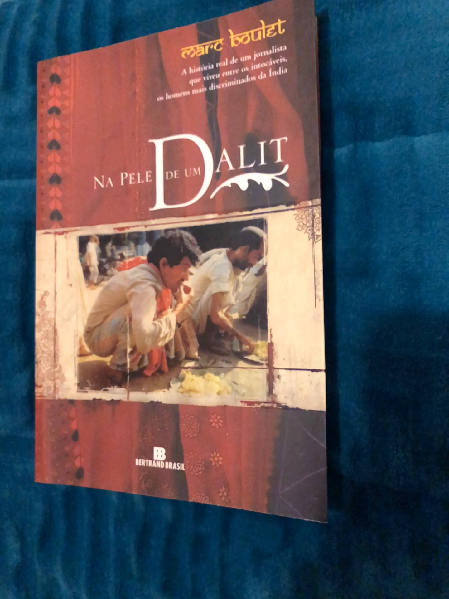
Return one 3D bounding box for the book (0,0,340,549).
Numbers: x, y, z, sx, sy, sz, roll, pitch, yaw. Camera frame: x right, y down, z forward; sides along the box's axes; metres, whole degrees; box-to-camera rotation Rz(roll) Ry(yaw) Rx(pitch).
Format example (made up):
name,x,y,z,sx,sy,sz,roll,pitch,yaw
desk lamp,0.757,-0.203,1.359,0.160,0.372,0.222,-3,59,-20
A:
name,x,y,z,sx,sy,sz,roll,pitch,yaw
book,-0.033,-0.018,0.231,0.160,0.030,0.220,-2,86,23
